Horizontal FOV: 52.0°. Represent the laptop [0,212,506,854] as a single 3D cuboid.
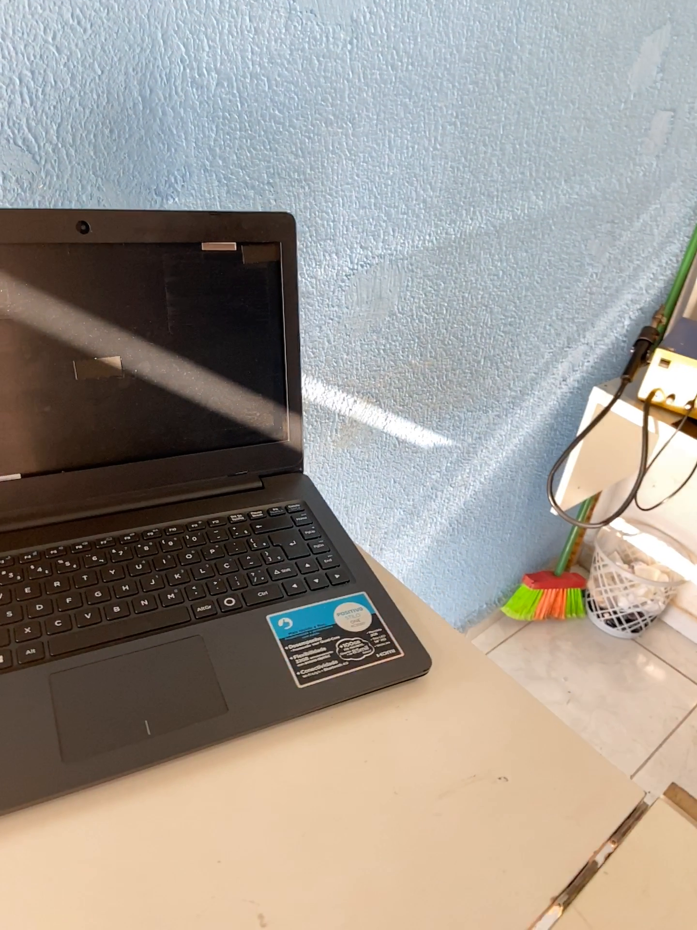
[{"bbox_3d":[-0.143,-0.011,0.478,0.338,0.214,0.311,-9,38,-25],"label":"laptop"}]
